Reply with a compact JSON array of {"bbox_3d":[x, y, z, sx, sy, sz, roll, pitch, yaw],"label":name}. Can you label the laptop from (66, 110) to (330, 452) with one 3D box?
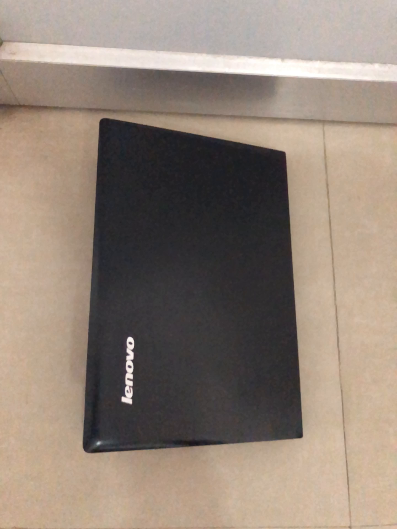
[{"bbox_3d":[-0.002,0.009,0.520,0.257,0.098,0.367,0,76,-5],"label":"laptop"}]
